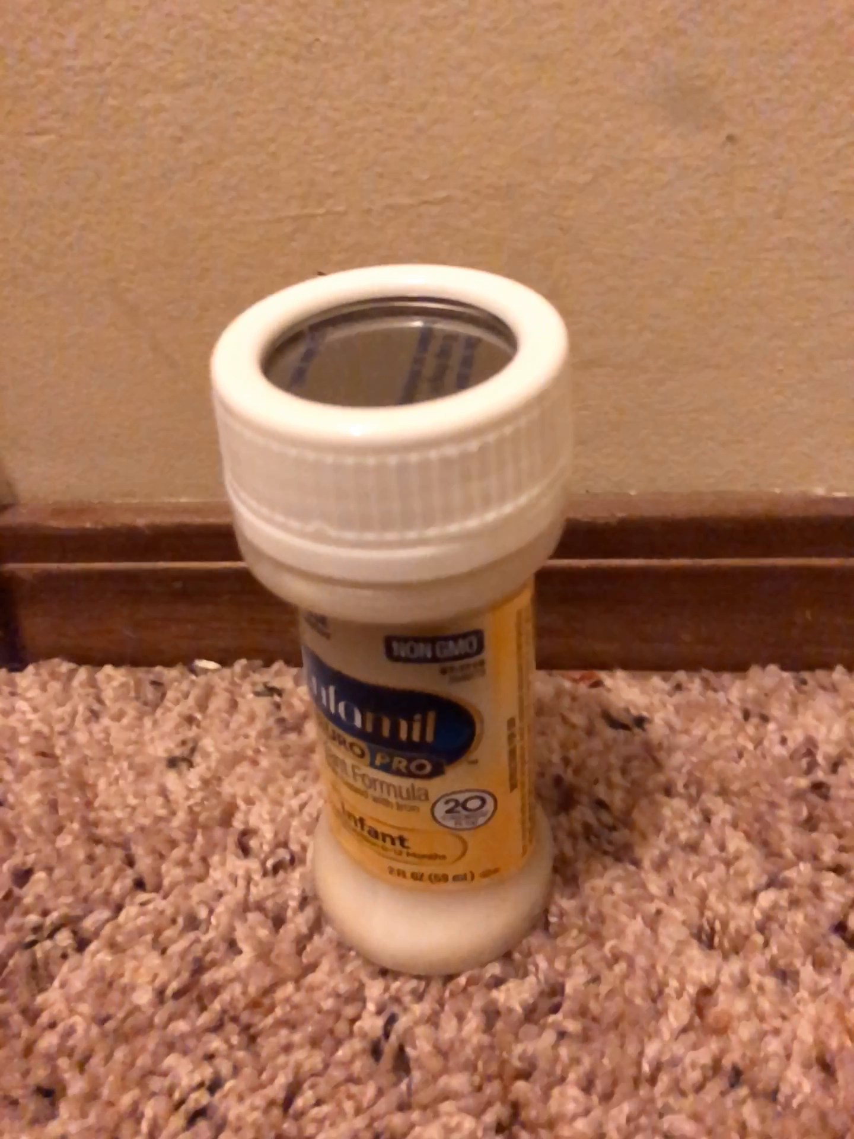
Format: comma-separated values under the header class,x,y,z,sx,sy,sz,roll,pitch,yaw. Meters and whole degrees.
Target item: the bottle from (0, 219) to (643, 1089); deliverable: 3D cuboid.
class,x,y,z,sx,sy,sz,roll,pitch,yaw
bottle,-0.007,0.017,0.139,0.050,0.110,0.050,-4,41,3
